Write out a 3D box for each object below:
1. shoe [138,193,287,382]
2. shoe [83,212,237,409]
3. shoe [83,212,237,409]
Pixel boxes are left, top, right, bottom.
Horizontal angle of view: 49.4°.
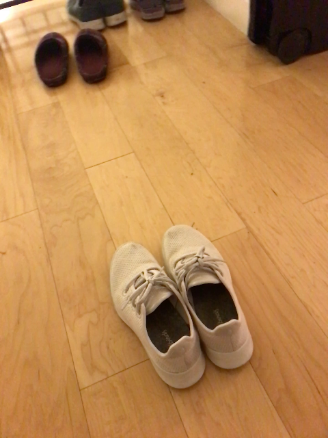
[{"bbox_3d":[0.064,0.094,0.584,0.120,0.070,0.281,-20,52,-9],"label":"shoe"},{"bbox_3d":[-0.017,0.135,0.594,0.130,0.089,0.281,-25,53,-12],"label":"shoe"},{"bbox_3d":[-0.017,0.135,0.594,0.130,0.089,0.281,-25,53,-12],"label":"shoe"}]
